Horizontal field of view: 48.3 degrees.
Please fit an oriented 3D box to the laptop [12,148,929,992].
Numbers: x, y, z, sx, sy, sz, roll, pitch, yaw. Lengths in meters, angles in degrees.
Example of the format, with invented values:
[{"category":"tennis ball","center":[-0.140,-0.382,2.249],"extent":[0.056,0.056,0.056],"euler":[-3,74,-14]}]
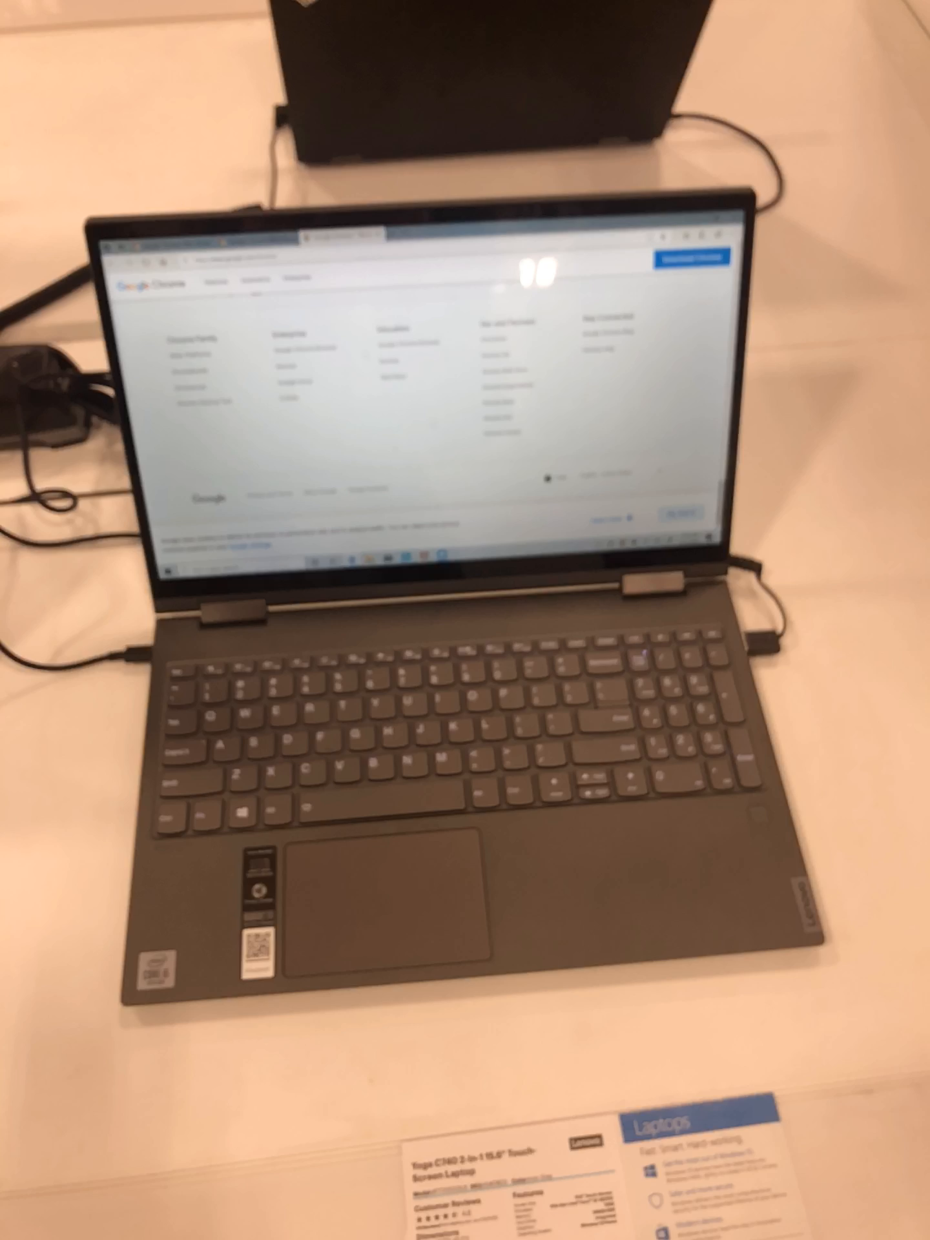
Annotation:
[{"category":"laptop","center":[-0.004,-0.032,0.538],"extent":[0.352,0.179,0.365],"euler":[-4,62,-3]}]
